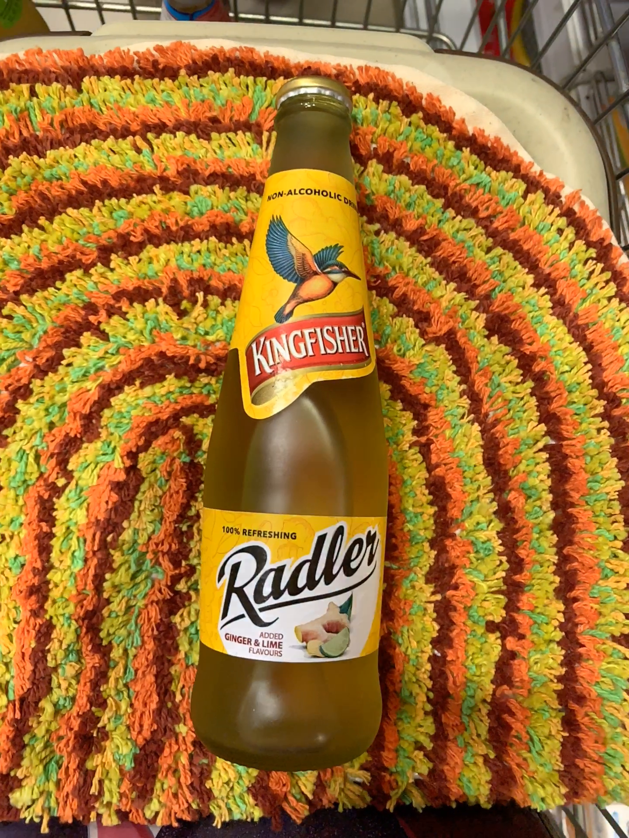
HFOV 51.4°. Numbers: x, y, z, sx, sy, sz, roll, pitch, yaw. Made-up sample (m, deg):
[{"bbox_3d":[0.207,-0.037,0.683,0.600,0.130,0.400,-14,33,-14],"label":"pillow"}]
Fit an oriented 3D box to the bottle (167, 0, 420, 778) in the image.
[{"bbox_3d":[-0.004,-0.014,0.211,0.060,0.060,0.220,3,84,-2],"label":"bottle"}]
